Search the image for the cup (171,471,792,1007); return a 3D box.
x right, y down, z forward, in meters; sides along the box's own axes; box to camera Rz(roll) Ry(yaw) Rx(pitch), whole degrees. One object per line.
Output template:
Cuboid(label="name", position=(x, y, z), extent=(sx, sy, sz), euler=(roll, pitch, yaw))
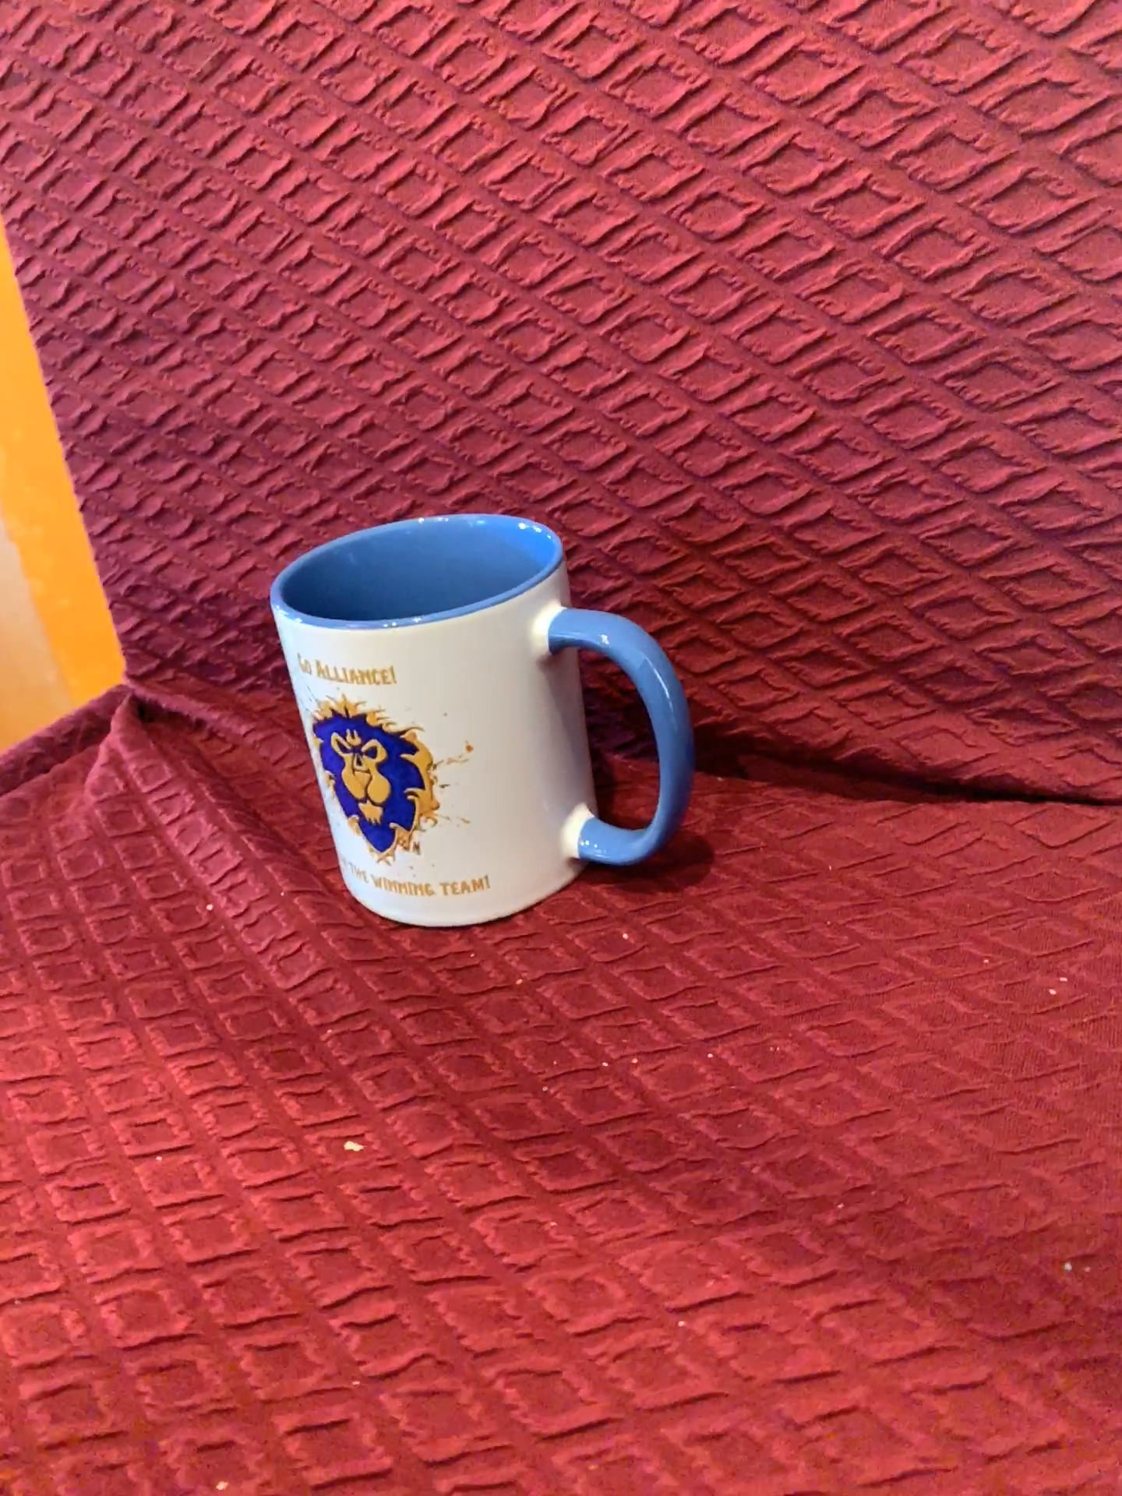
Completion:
Cuboid(label="cup", position=(-0.015, -0.013, 0.333), extent=(0.130, 0.099, 0.100), euler=(9, 34, 29))
